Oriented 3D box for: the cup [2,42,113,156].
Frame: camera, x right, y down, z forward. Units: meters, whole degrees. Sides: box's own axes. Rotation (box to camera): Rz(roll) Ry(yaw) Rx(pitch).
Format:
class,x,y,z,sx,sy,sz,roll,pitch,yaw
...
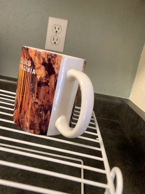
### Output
class,x,y,z,sx,sy,sz,roll,pitch,yaw
cup,-0.032,-0.011,0.188,0.080,0.090,0.120,1,18,-34
